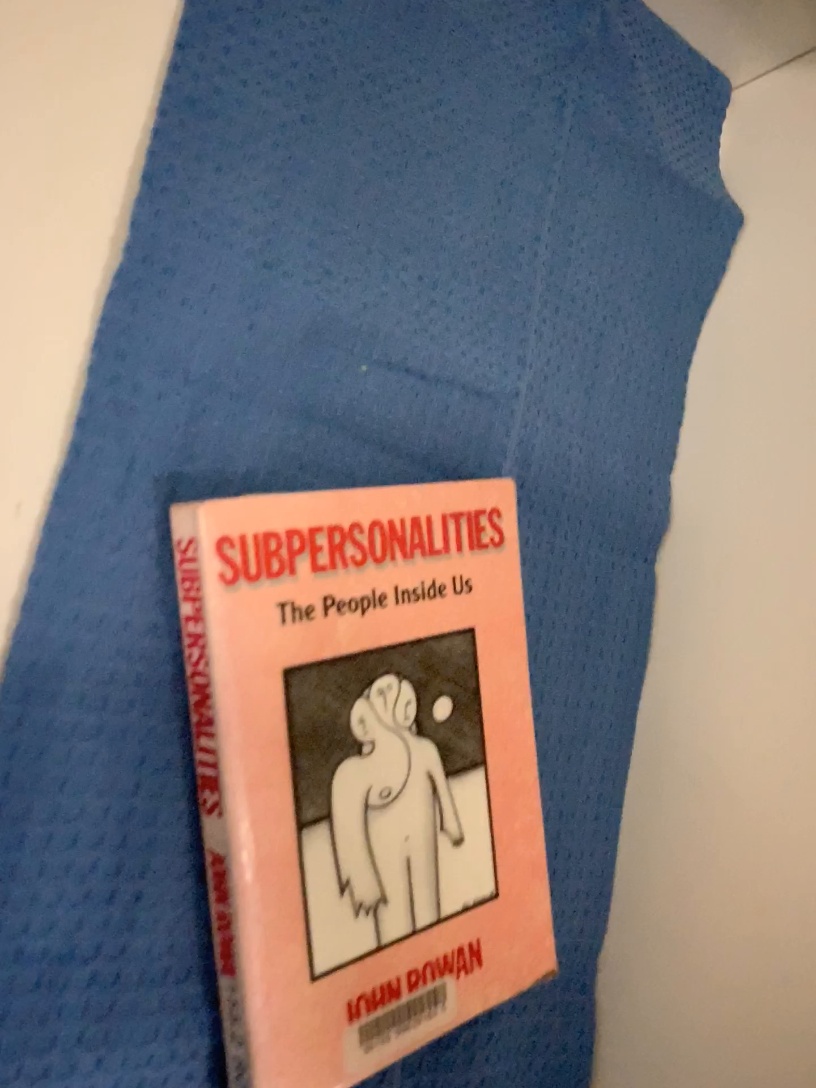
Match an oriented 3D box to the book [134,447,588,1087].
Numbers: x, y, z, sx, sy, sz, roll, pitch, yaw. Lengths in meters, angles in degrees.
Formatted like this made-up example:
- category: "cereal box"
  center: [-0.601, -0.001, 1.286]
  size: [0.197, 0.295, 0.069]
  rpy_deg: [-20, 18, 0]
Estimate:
- category: "book"
  center: [-0.009, 0.082, 0.325]
  size: [0.161, 0.040, 0.230]
  rpy_deg: [-7, 93, -35]
